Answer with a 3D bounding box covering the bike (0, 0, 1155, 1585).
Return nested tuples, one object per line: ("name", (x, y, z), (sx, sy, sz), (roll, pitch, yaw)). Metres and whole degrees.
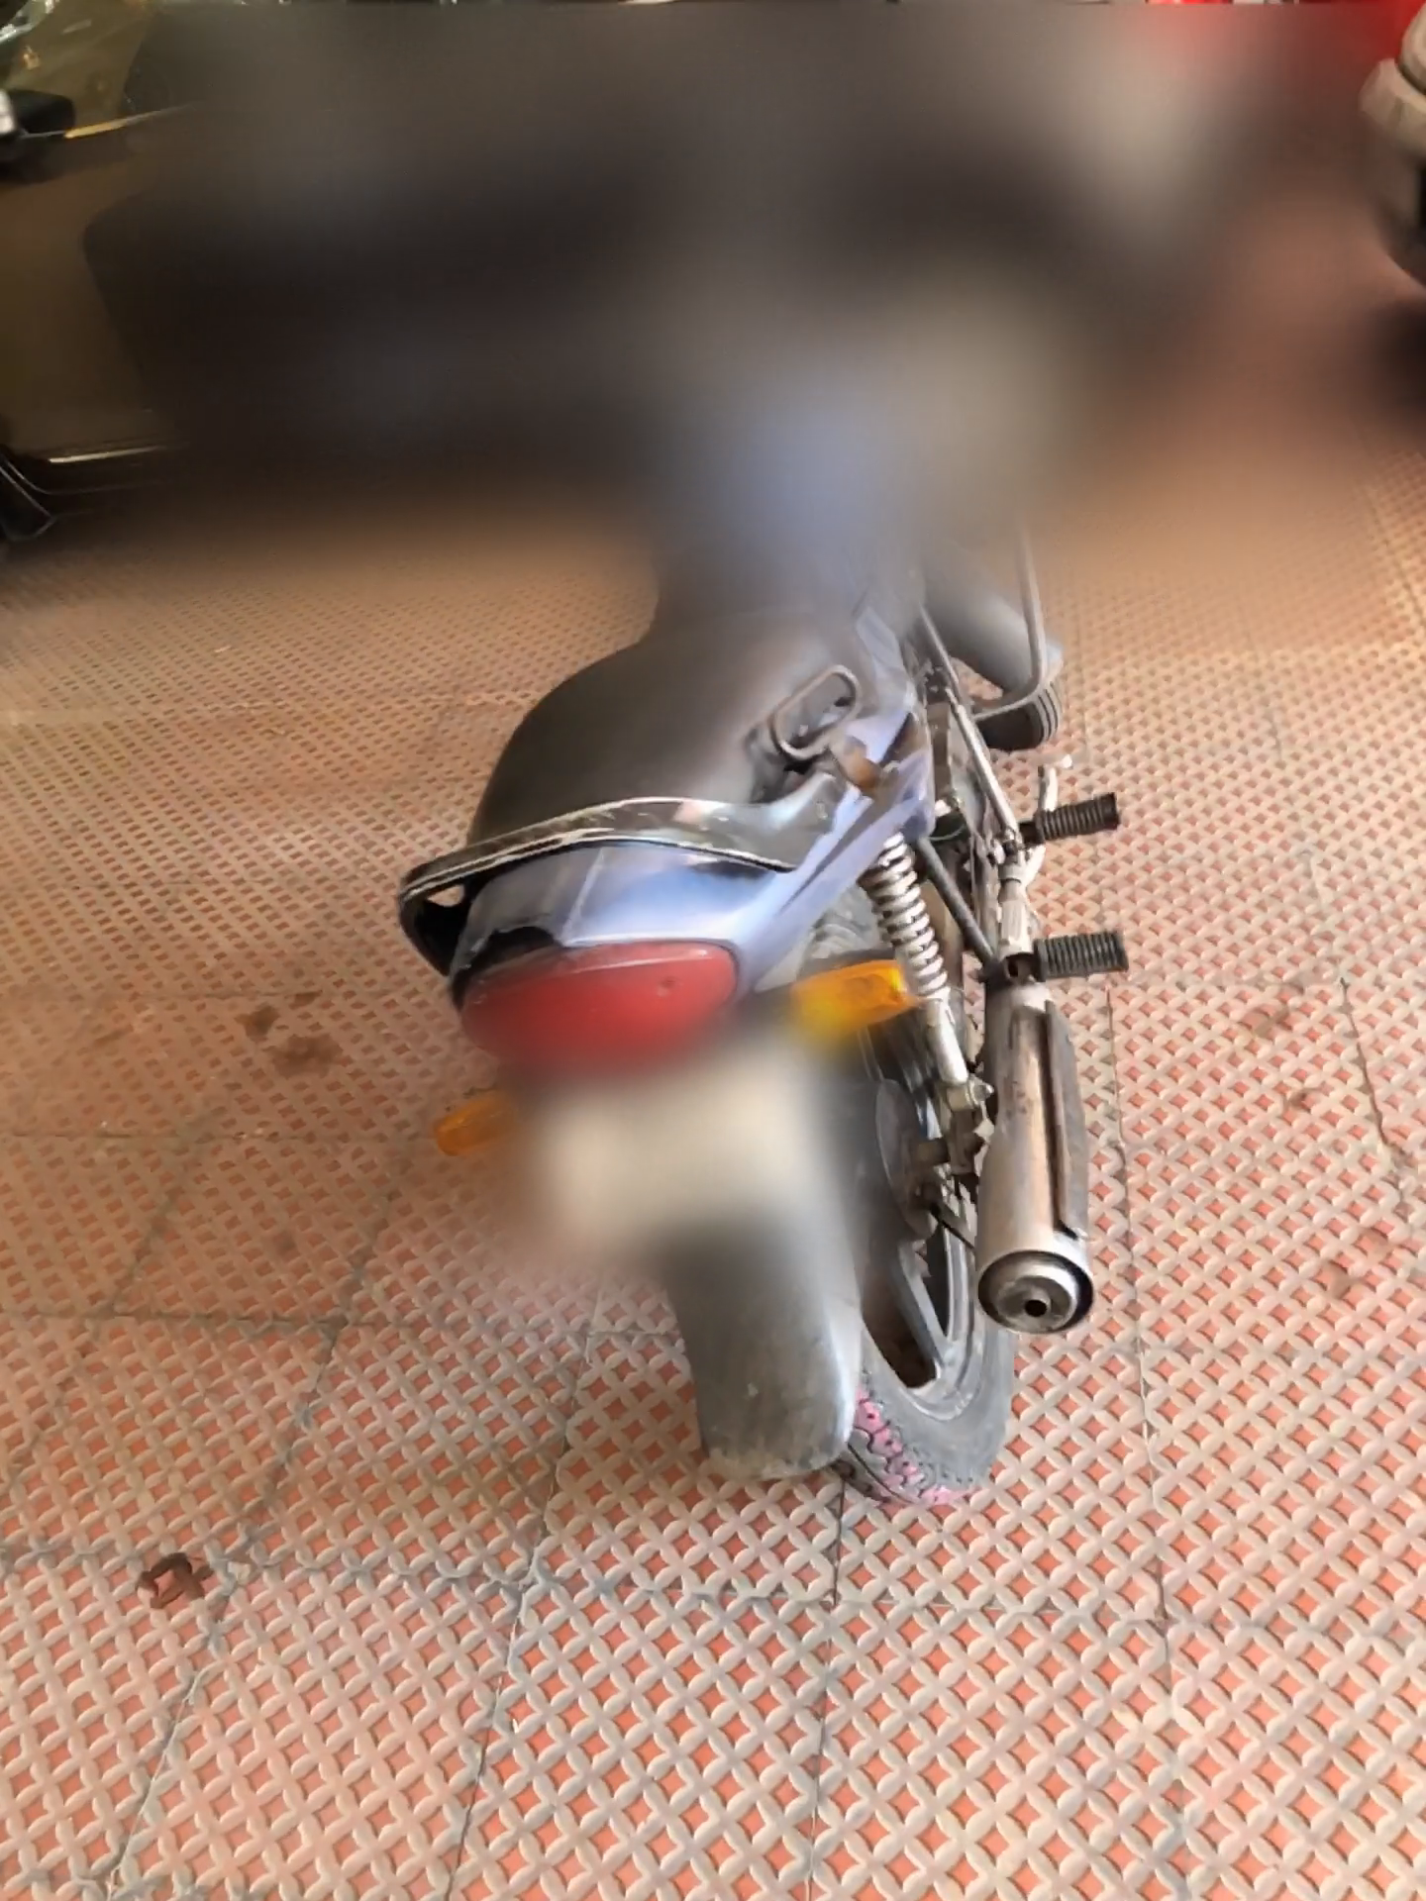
("bike", (-0.112, -0.384, 1.776), (0.733, 1.072, 1.698), (-7, 40, 4))
